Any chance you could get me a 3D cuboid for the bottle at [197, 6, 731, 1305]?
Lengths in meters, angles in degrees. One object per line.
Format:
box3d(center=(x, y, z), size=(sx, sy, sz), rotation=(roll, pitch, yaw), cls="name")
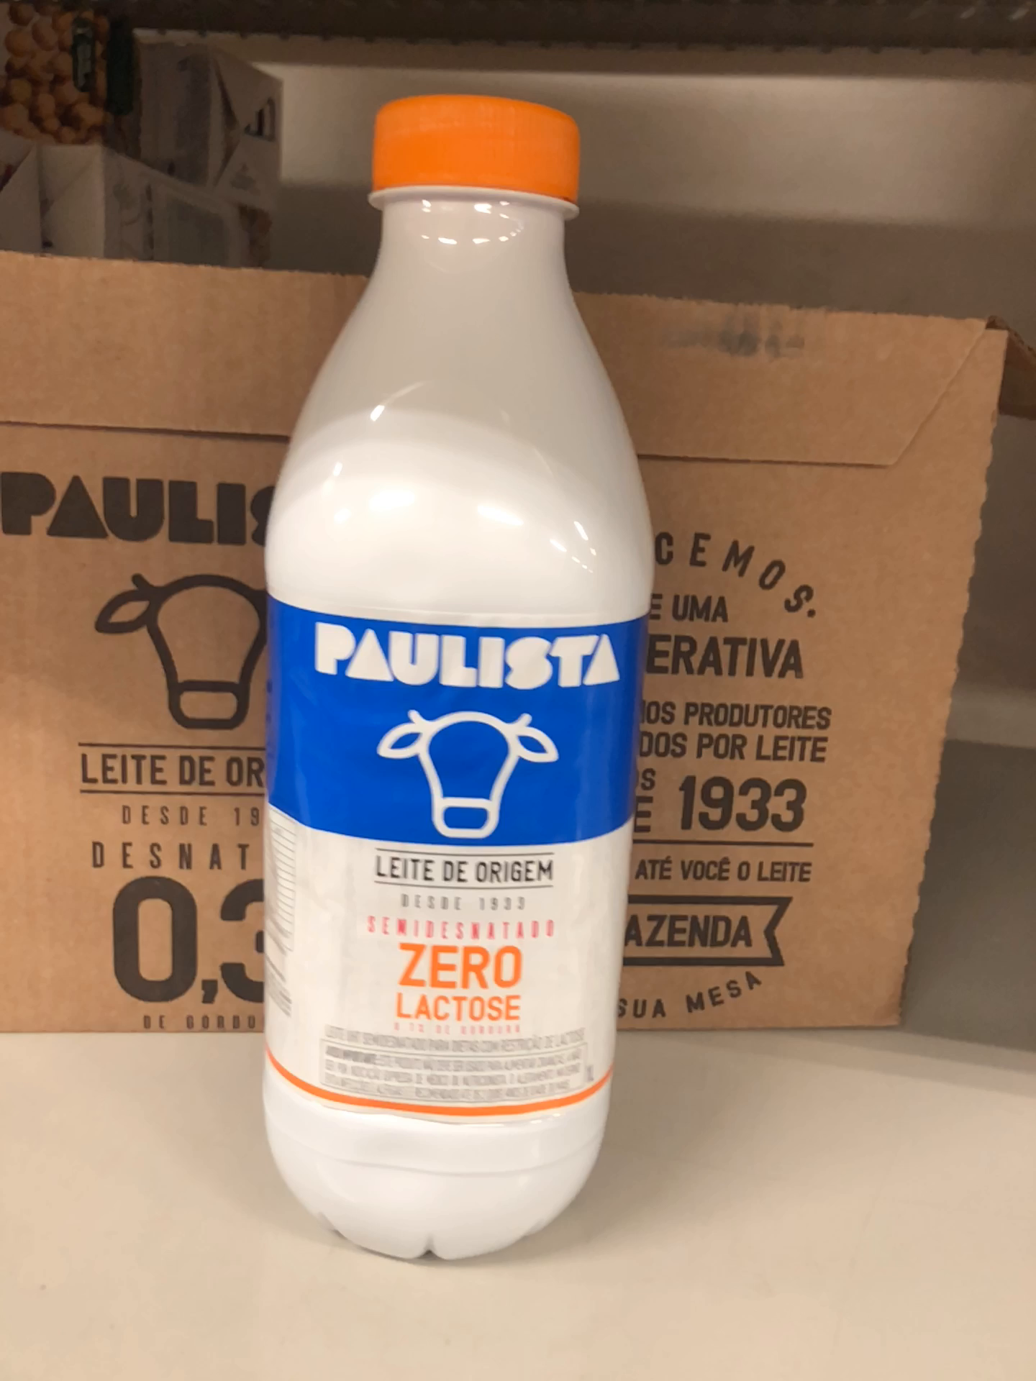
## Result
box3d(center=(-0.014, 0.000, 0.240), size=(0.080, 0.229, 0.080), rotation=(3, 14, -1), cls="bottle")
